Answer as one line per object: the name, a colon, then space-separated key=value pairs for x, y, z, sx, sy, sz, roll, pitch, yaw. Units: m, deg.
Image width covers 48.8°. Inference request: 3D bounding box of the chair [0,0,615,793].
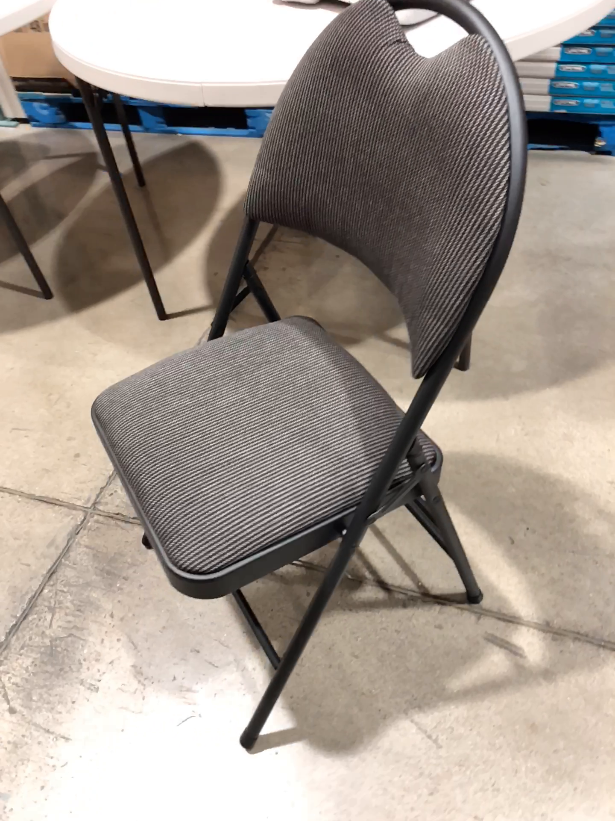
chair: x=-0.045 y=-0.011 z=0.896 sx=0.560 sy=0.857 sz=0.512 roll=-25 pitch=49 yaw=-14
